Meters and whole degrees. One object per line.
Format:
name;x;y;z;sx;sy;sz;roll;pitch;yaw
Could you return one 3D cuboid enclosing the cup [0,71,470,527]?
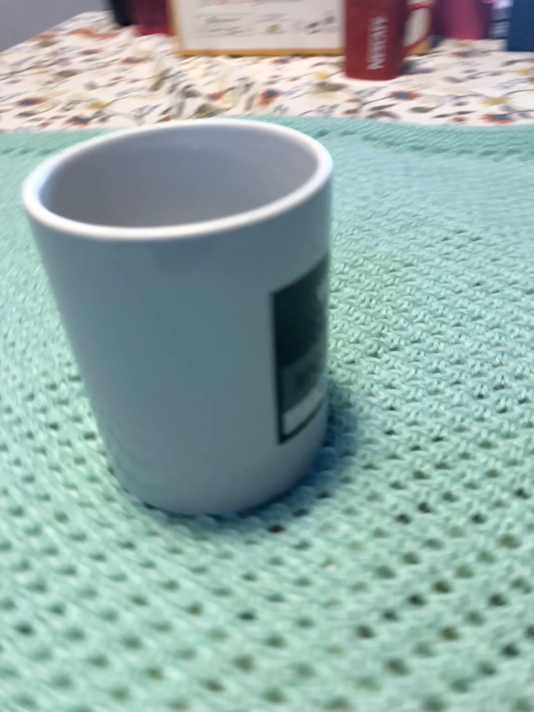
cup;-0.011;-0.030;0.196;0.100;0.079;0.141;-3;39;0
